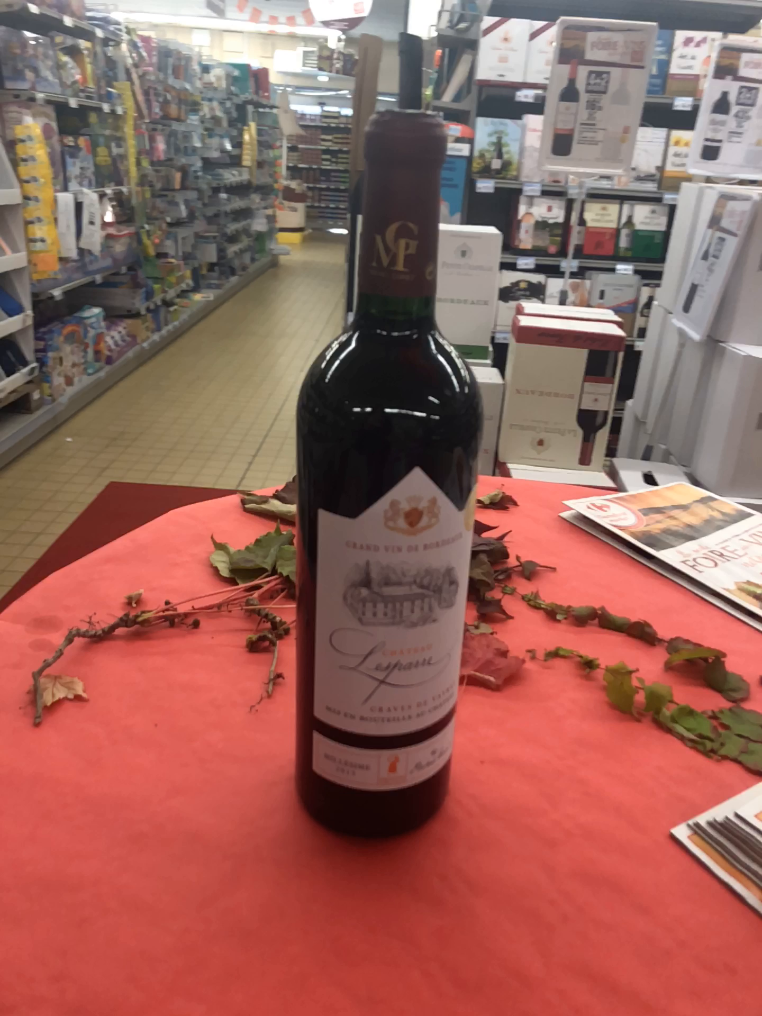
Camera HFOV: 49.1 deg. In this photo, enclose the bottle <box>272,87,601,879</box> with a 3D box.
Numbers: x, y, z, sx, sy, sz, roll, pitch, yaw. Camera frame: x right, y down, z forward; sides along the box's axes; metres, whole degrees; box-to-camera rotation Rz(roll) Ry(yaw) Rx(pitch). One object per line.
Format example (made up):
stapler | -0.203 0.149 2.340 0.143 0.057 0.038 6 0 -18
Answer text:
bottle | 0.005 0.000 0.344 0.090 0.298 0.090 3 22 -1
